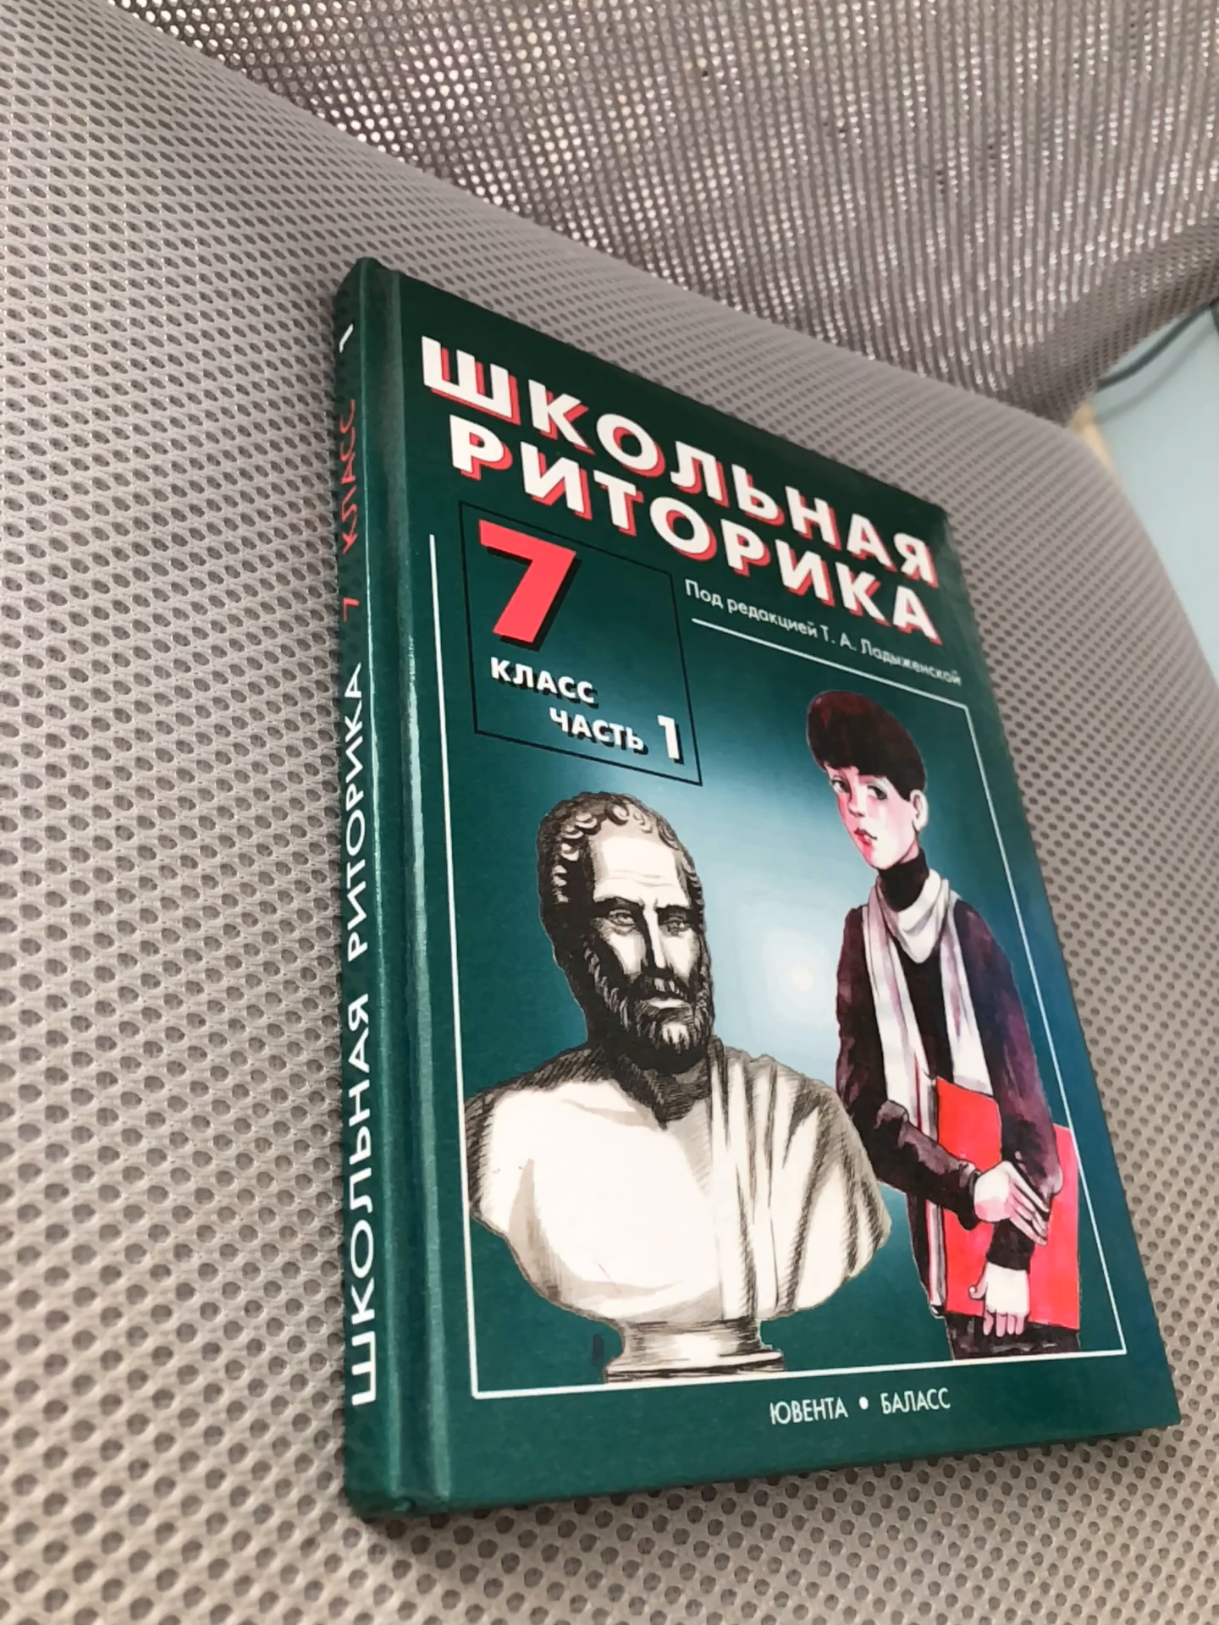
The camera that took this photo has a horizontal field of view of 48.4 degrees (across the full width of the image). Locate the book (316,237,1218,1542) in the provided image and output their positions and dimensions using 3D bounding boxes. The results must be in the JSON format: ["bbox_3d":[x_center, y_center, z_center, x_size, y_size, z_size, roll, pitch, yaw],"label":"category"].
[{"bbox_3d":[0.029,0.010,0.260,0.167,0.030,0.211,12,59,-34],"label":"book"}]
